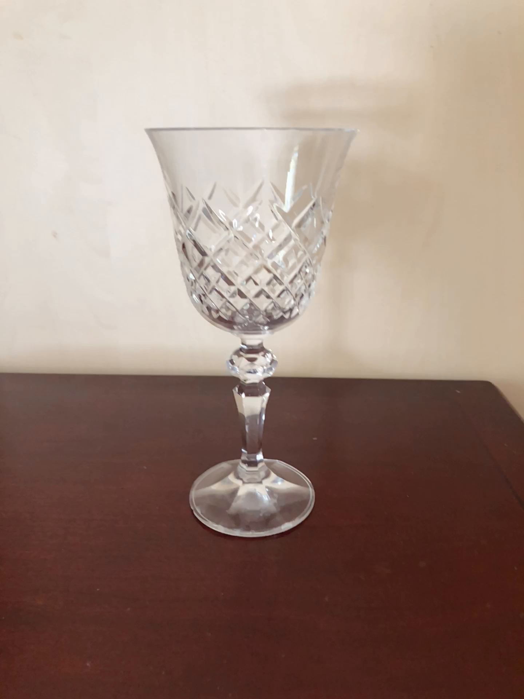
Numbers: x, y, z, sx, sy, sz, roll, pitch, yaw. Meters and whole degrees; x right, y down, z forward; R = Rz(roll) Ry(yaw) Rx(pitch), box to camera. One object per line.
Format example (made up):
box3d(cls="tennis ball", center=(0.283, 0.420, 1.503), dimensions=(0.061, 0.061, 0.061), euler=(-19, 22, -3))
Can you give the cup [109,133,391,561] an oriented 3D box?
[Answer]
box3d(cls="cup", center=(-0.010, -0.011, 0.276), dimensions=(0.092, 0.171, 0.092), euler=(0, 20, 0))
